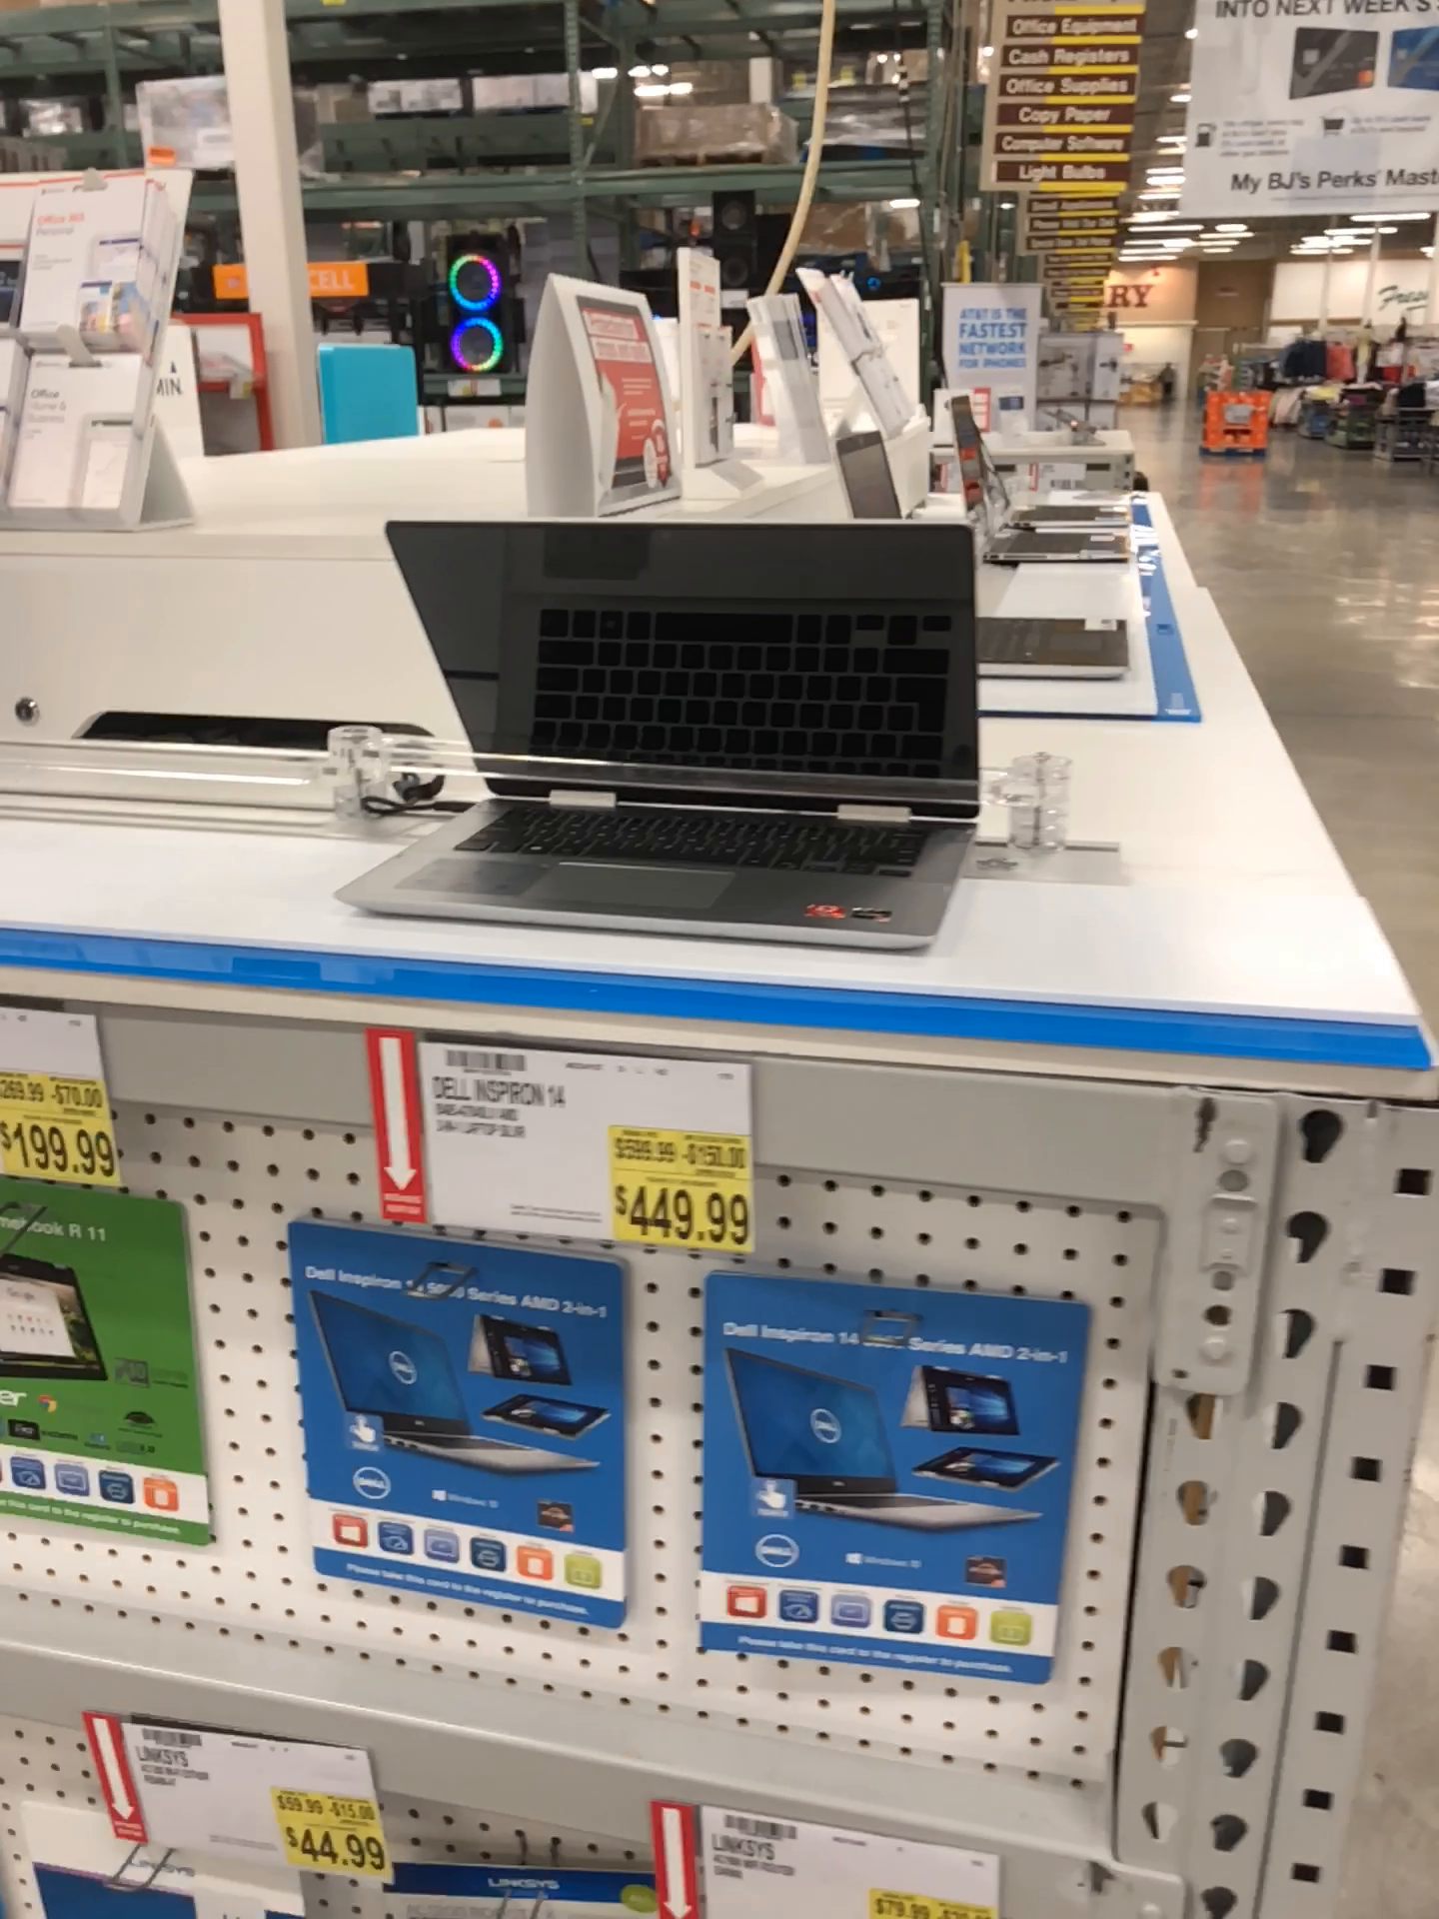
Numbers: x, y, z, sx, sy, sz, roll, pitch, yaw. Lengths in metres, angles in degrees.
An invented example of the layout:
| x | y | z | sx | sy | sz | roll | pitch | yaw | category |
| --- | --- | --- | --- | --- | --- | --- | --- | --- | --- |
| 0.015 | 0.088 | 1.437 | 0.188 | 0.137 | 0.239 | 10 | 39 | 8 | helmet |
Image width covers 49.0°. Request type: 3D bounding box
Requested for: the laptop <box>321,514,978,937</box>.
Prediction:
| x | y | z | sx | sy | sz | roll | pitch | yaw | category |
| --- | --- | --- | --- | --- | --- | --- | --- | --- | --- |
| -0.024 | -0.143 | 0.872 | 0.307 | 0.183 | 0.210 | 4 | 20 | 14 | laptop |
